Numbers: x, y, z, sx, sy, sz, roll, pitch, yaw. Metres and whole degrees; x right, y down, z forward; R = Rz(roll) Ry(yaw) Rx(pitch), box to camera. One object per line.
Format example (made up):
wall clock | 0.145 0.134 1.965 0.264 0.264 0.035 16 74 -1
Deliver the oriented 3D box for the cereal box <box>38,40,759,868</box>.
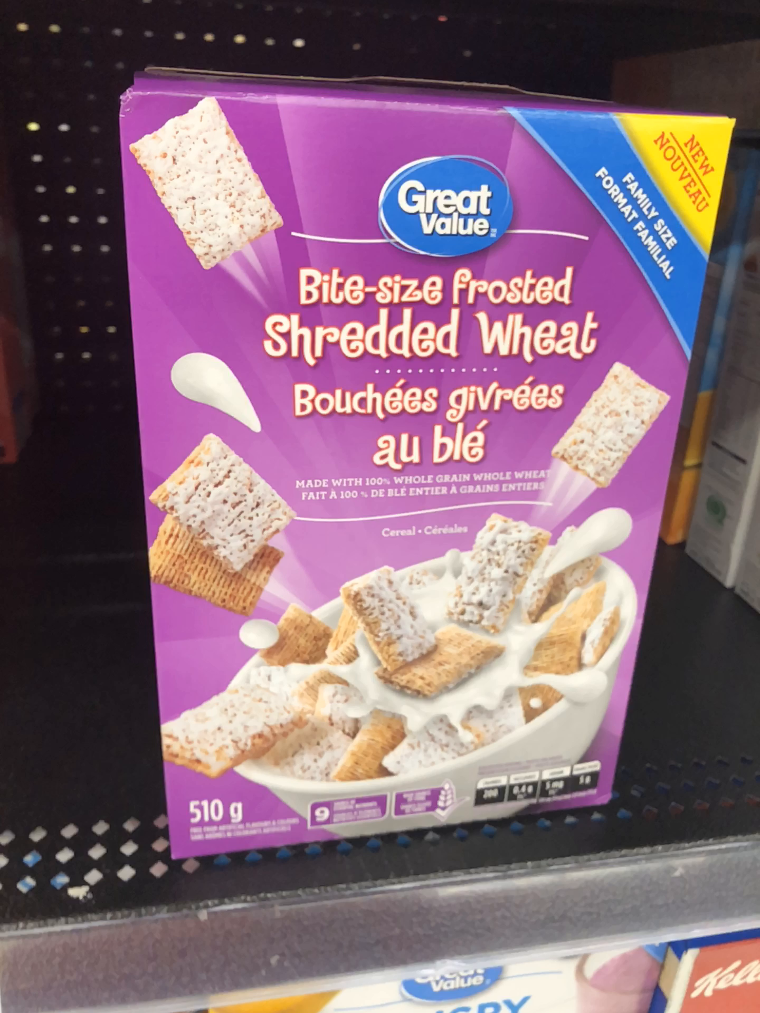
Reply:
cereal box | 0.003 -0.008 0.323 0.210 0.279 0.070 -2 23 -11
